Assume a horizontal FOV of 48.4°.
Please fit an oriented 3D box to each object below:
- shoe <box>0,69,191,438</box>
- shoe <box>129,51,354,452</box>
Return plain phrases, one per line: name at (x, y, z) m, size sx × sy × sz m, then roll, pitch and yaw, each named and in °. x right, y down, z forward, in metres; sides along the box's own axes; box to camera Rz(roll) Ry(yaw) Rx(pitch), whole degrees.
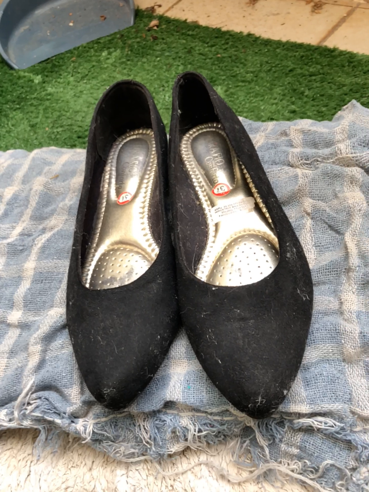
shoe at (-0.054, -0.013, 0.311) m, size 0.090 × 0.080 × 0.271 m, roll -10°, pitch 53°, yaw 10°
shoe at (0.021, -0.019, 0.287) m, size 0.090 × 0.080 × 0.271 m, roll -13°, pitch 52°, yaw 7°
